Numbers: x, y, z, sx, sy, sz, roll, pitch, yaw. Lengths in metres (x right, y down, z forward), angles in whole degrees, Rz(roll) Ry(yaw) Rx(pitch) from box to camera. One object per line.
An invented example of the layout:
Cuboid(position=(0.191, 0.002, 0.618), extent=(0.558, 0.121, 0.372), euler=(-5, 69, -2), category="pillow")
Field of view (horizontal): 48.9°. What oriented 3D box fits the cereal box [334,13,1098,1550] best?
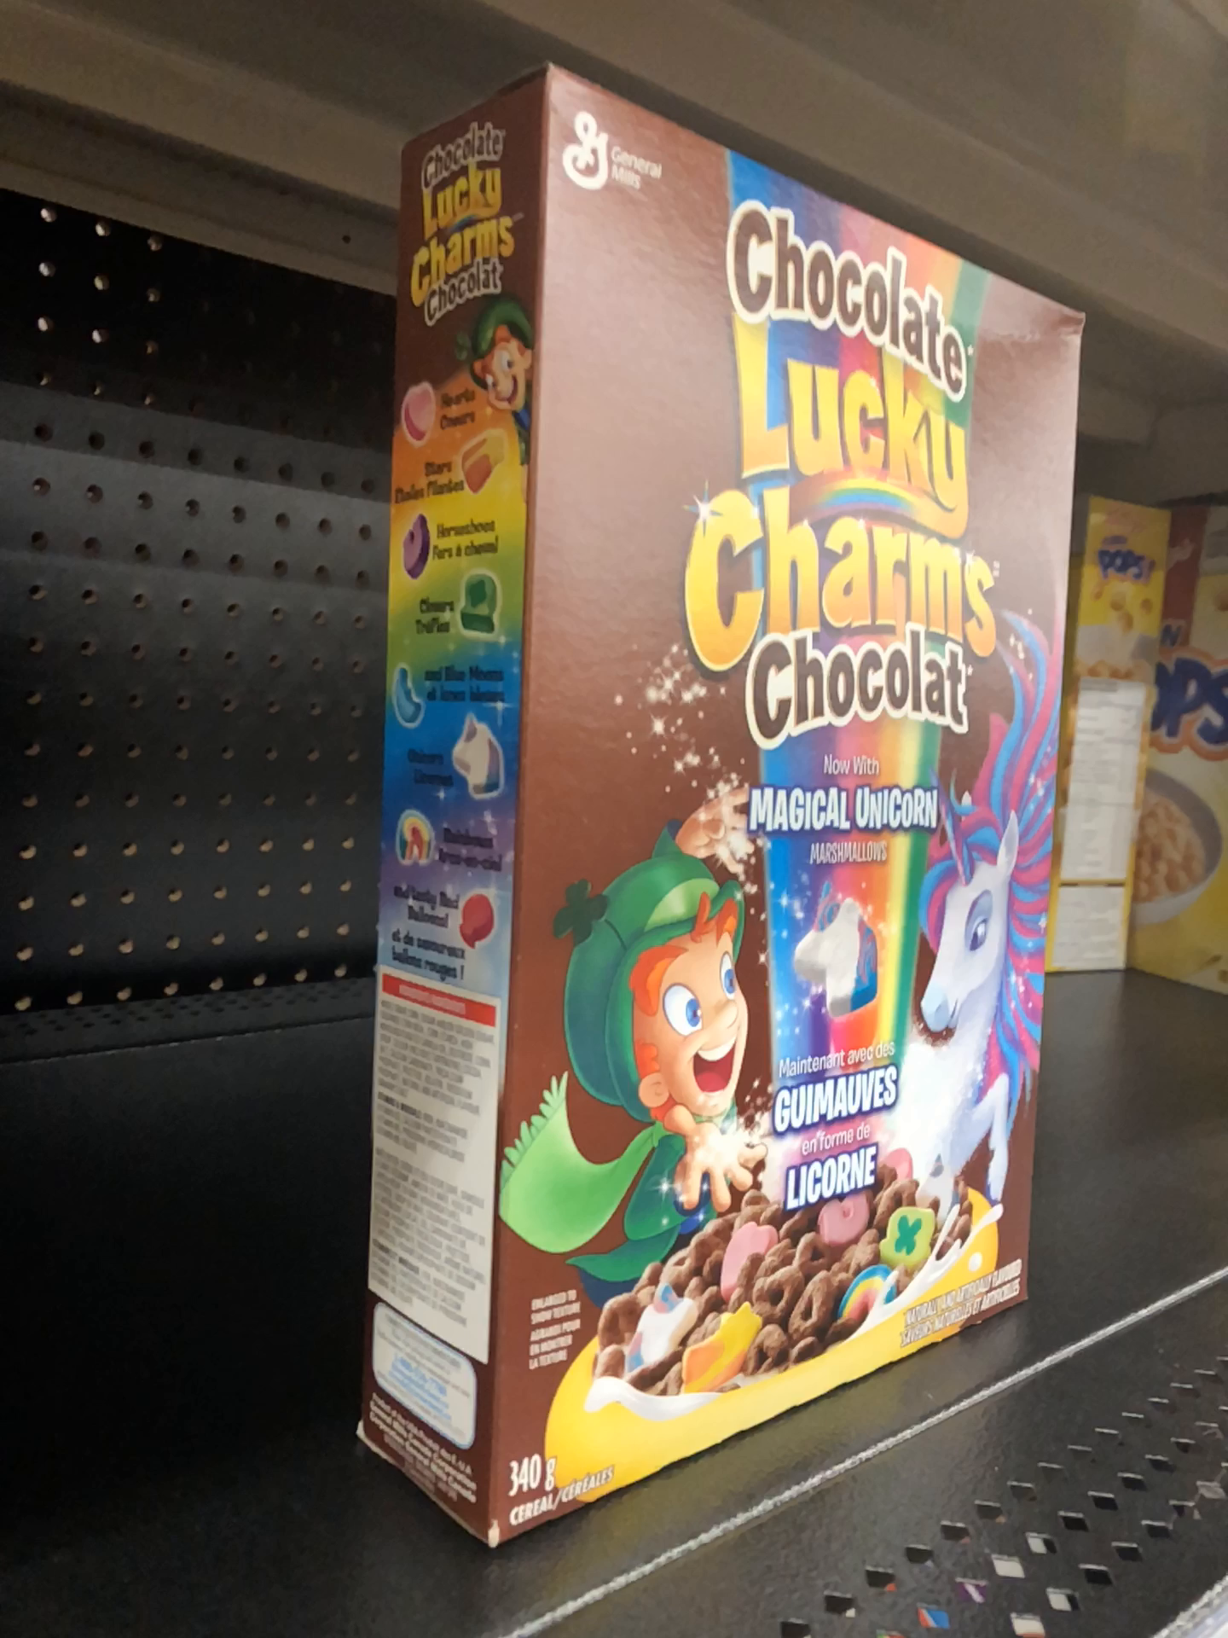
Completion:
Cuboid(position=(0.037, -0.007, 0.343), extent=(0.200, 0.290, 0.060), euler=(0, 3, -41), category="cereal box")
